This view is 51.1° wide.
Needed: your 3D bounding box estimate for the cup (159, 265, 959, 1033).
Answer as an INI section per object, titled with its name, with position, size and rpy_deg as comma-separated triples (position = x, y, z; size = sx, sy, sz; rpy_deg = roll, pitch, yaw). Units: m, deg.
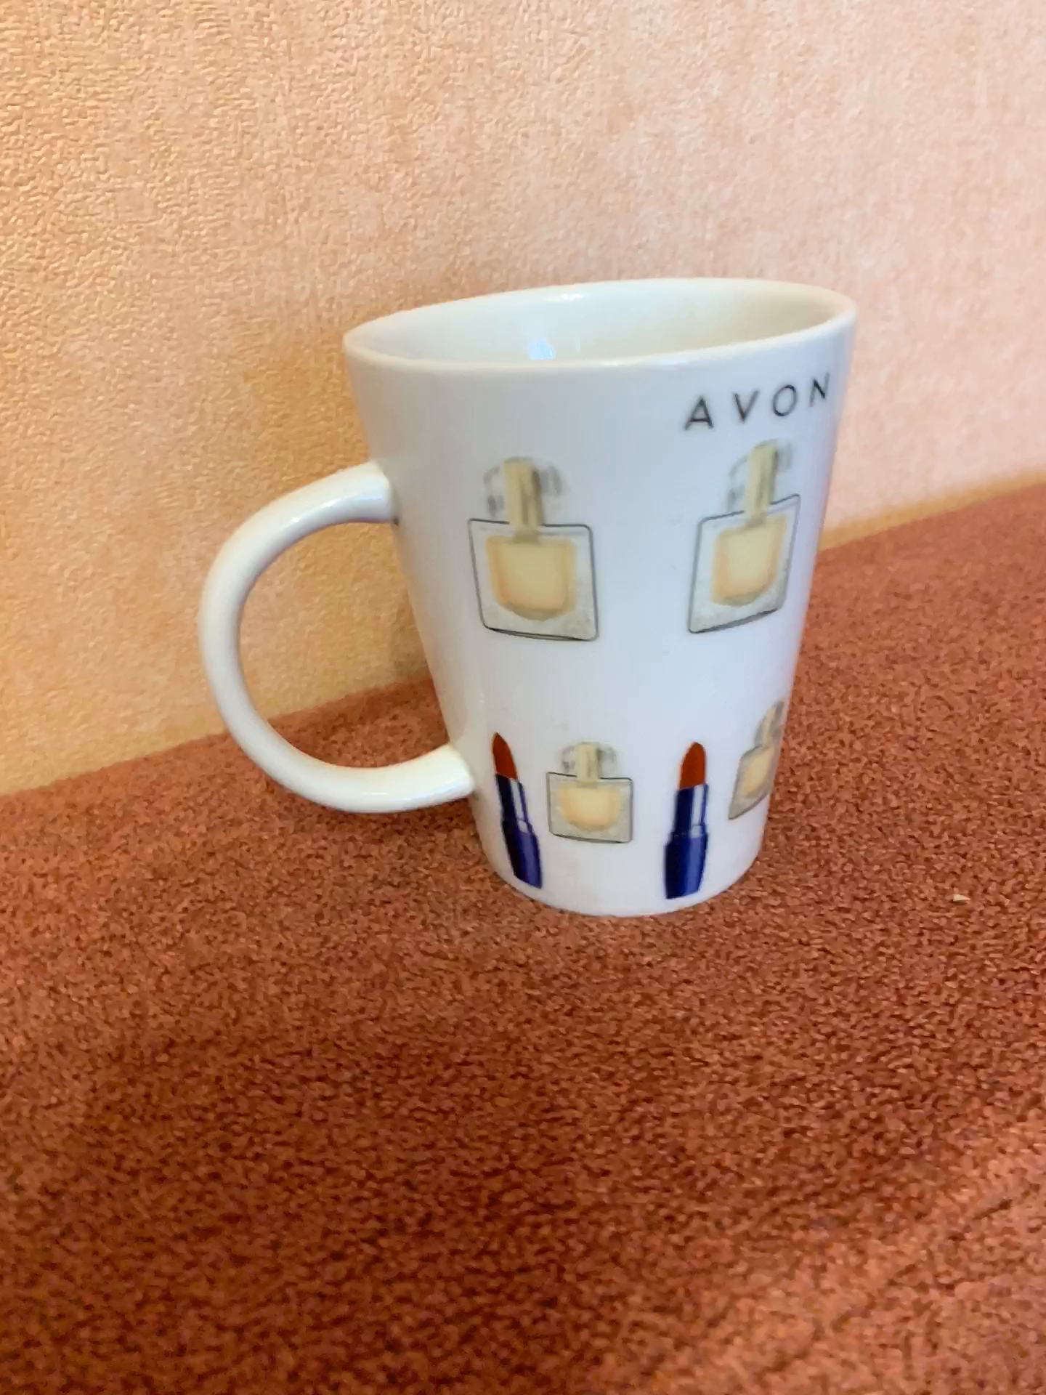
[cup]
position = 0.002, -0.016, 0.189
size = 0.103, 0.093, 0.071
rpy_deg = -13, 30, -17
